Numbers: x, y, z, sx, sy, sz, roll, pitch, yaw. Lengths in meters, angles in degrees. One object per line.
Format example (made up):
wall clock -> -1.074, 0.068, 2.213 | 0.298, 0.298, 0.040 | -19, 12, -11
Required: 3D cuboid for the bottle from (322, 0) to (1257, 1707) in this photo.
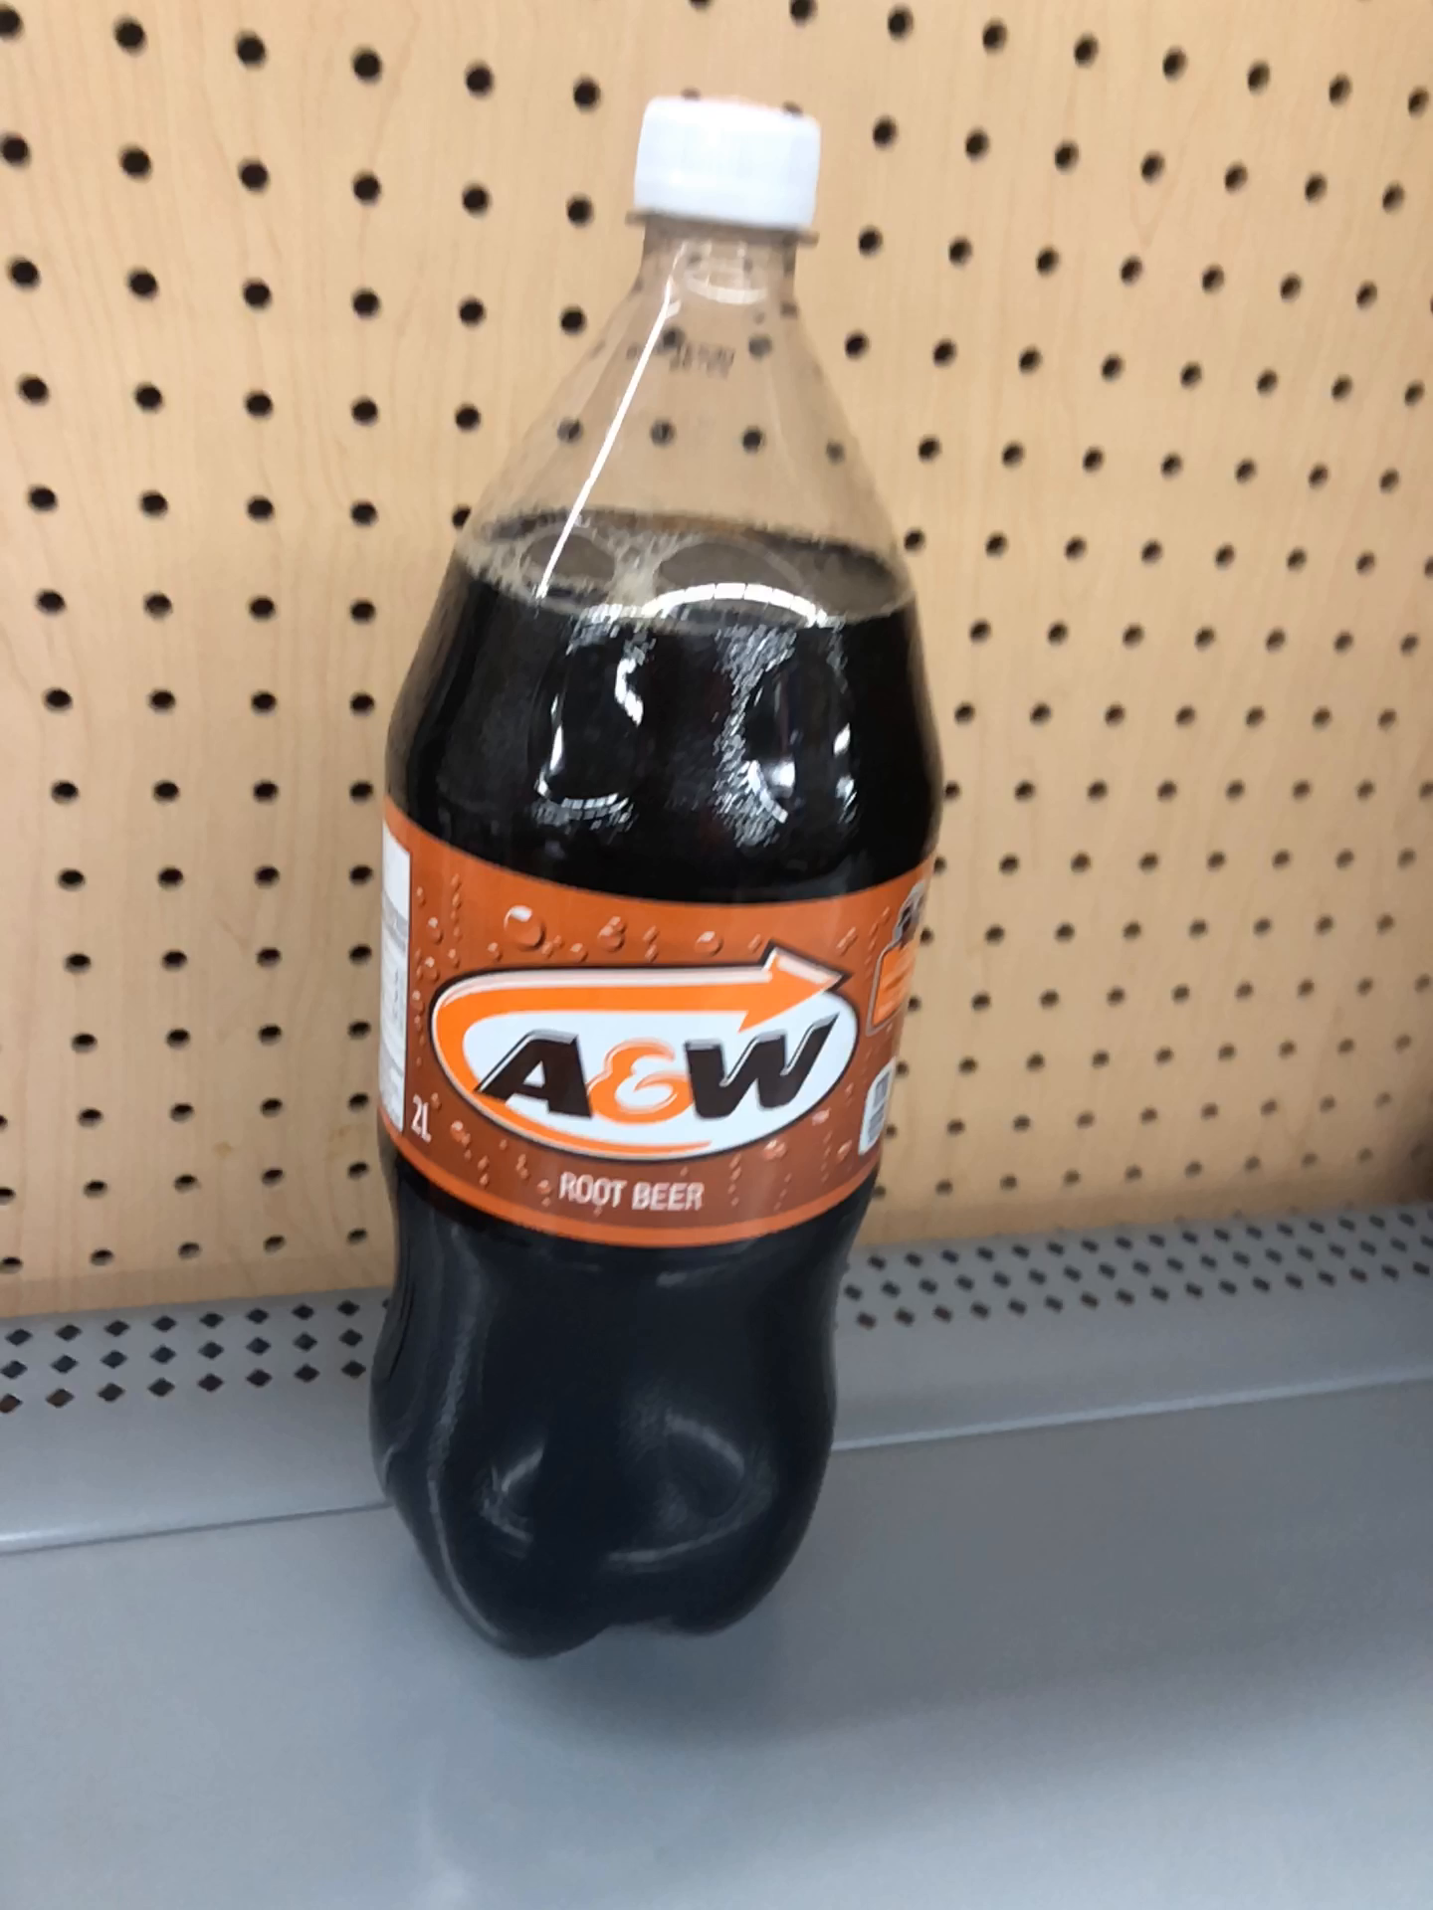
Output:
bottle -> -0.009, -0.006, 0.323 | 0.120, 0.308, 0.121 | 5, 26, -3
